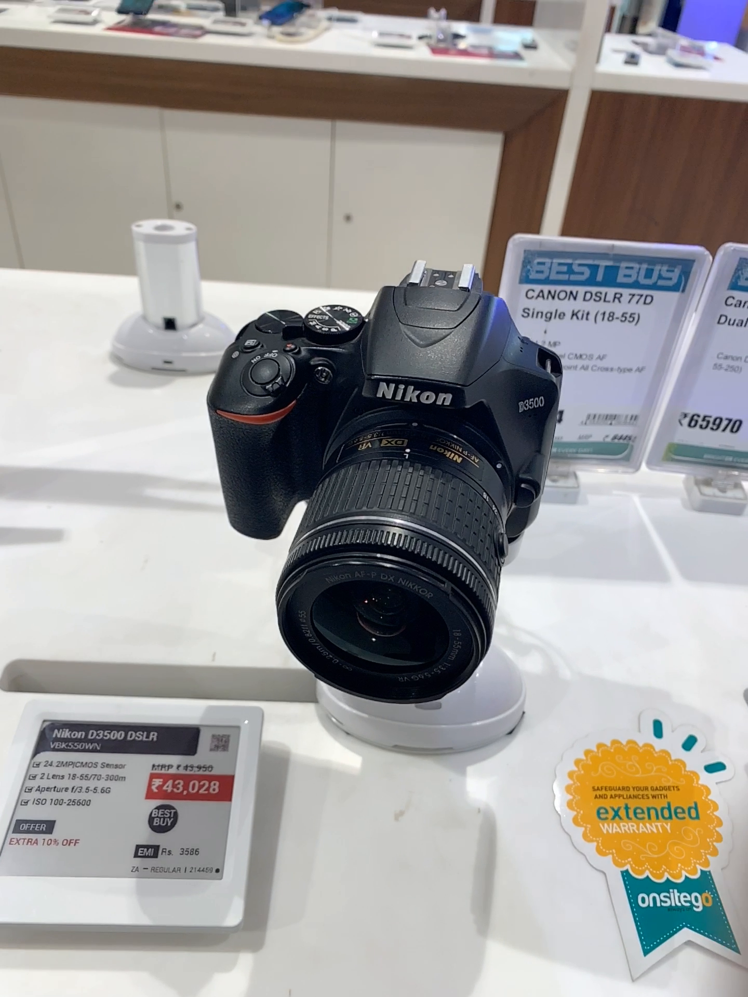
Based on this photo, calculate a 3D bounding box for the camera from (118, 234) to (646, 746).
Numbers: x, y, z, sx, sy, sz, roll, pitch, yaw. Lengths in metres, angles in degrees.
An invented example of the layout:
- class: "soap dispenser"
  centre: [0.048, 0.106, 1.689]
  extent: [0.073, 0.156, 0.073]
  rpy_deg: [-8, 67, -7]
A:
- class: "camera"
  centre: [0.006, -0.008, 0.227]
  extent: [0.110, 0.090, 0.103]
  rpy_deg: [9, 39, 5]
